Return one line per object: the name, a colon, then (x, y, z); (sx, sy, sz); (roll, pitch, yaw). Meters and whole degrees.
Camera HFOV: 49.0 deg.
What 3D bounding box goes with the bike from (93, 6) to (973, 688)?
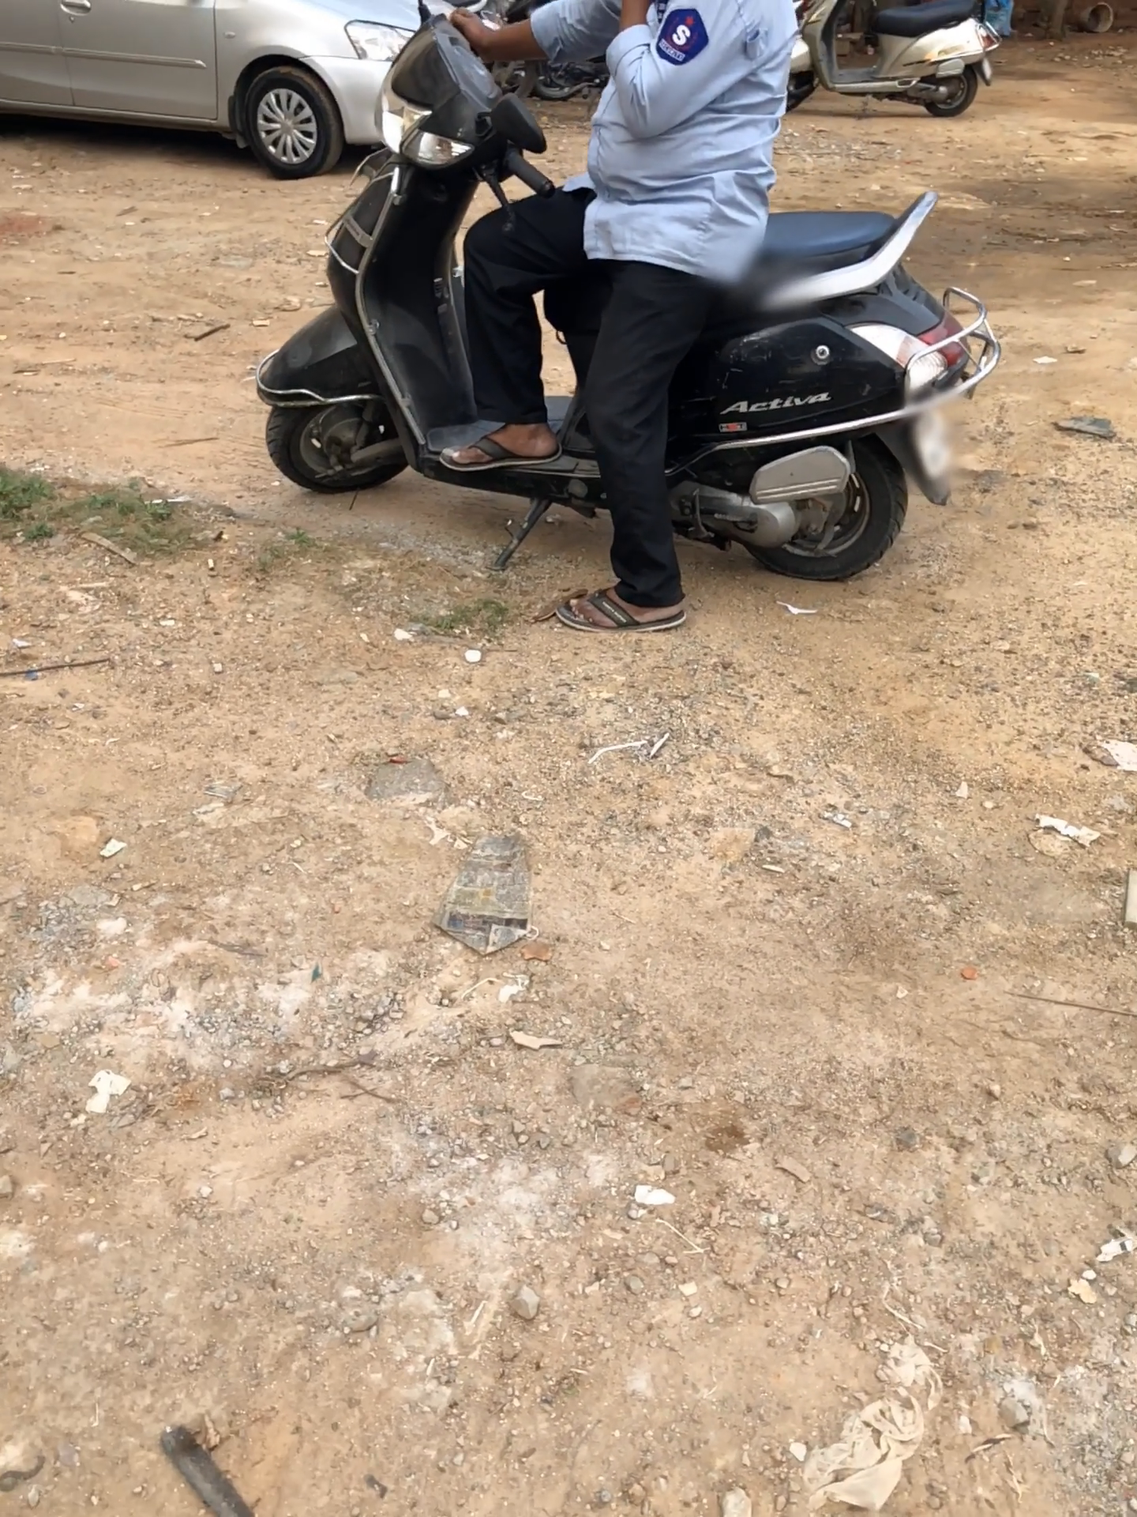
bike: (-0.058, -0.867, 2.601); (1.522, 1.102, 0.578); (10, 35, 20)
